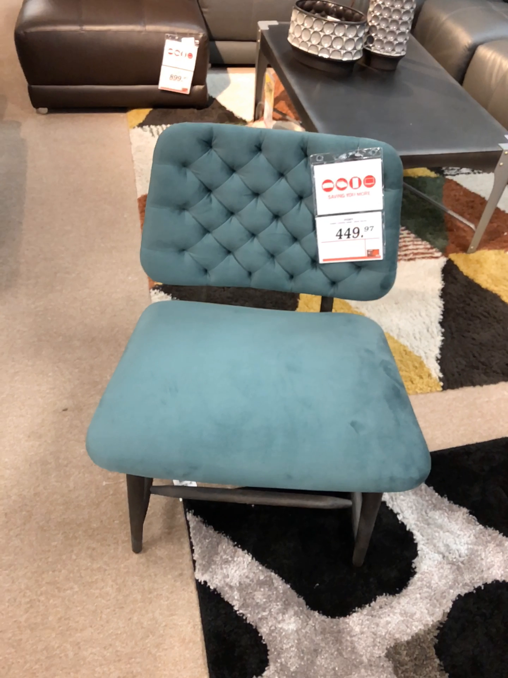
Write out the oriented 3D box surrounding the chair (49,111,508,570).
[{"bbox_3d":[0.032,0.053,1.161,0.639,0.765,0.534,5,48,-4],"label":"chair"}]
